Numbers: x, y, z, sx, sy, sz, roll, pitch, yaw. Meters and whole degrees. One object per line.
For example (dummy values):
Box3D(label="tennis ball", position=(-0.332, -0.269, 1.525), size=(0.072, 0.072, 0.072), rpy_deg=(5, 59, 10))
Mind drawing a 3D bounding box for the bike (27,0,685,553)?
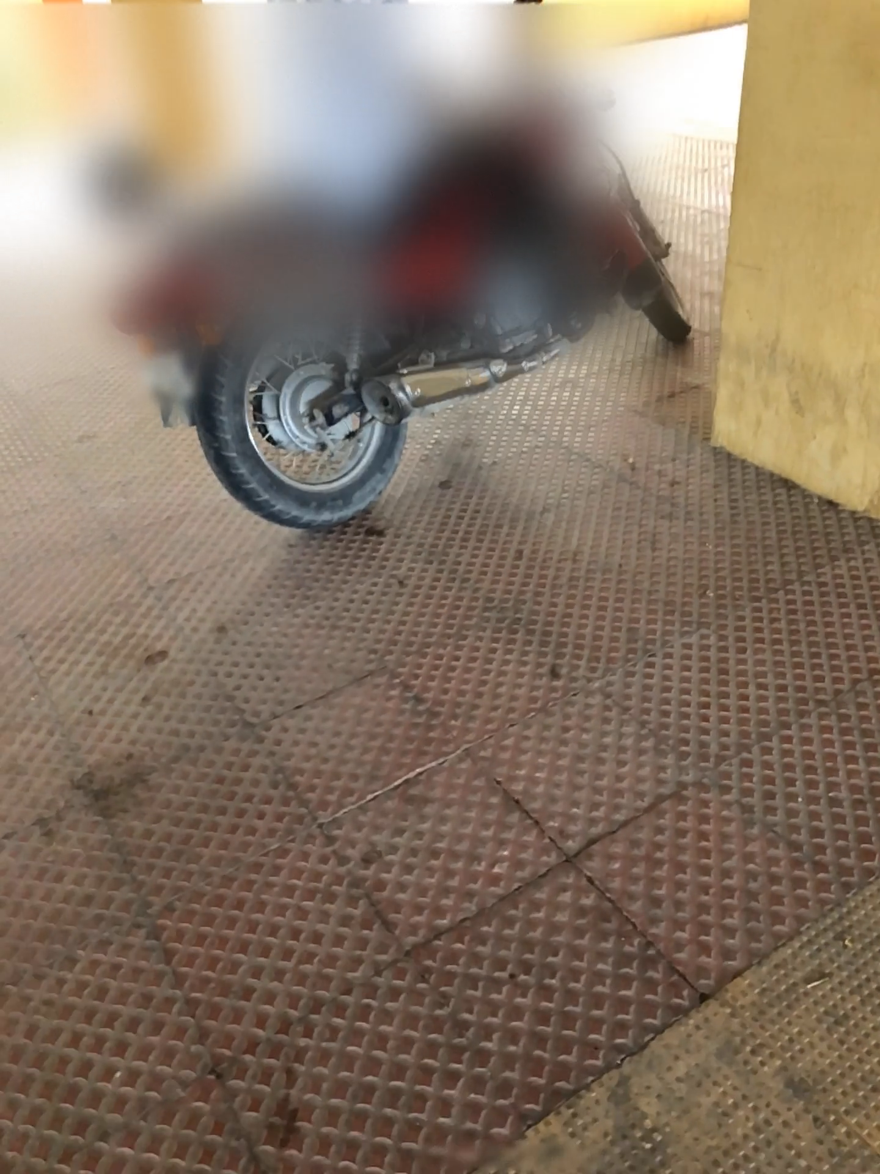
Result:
Box3D(label="bike", position=(-0.059, -1.150, 2.463), size=(0.756, 1.049, 1.657), rpy_deg=(17, 46, 29))
